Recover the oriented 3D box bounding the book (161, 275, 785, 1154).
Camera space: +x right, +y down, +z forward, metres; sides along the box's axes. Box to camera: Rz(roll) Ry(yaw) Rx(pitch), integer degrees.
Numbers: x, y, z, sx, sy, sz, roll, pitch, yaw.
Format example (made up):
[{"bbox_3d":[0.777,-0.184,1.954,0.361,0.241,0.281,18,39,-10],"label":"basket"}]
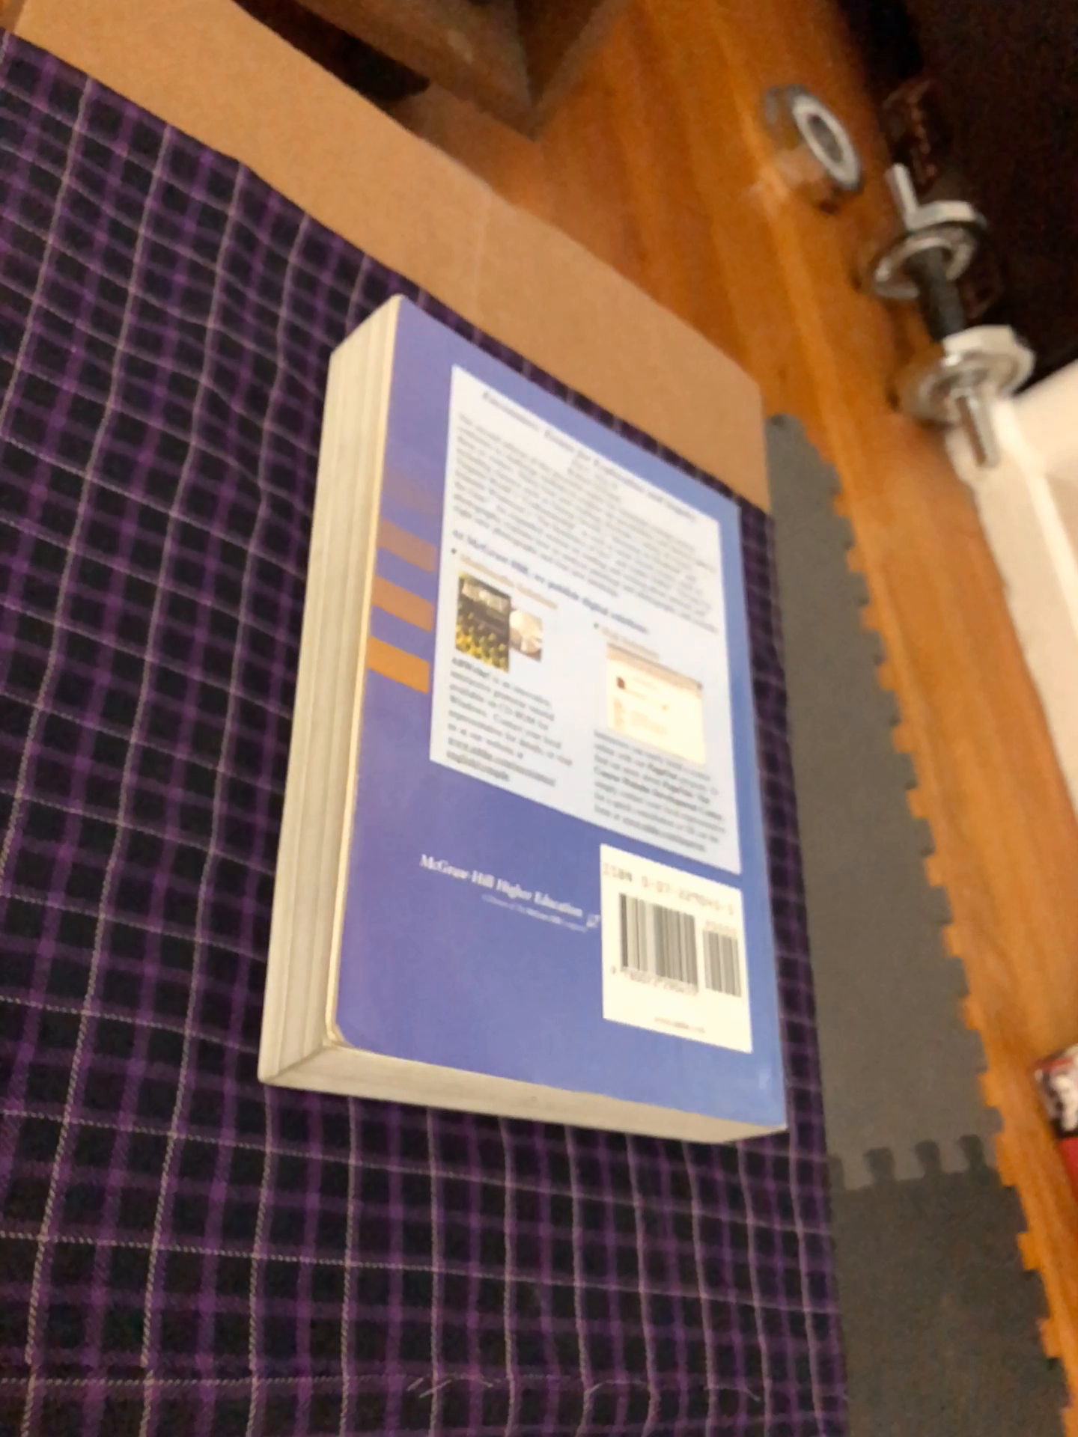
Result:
[{"bbox_3d":[-0.010,0.002,0.382,0.181,0.040,0.241,20,56,-35],"label":"book"}]
